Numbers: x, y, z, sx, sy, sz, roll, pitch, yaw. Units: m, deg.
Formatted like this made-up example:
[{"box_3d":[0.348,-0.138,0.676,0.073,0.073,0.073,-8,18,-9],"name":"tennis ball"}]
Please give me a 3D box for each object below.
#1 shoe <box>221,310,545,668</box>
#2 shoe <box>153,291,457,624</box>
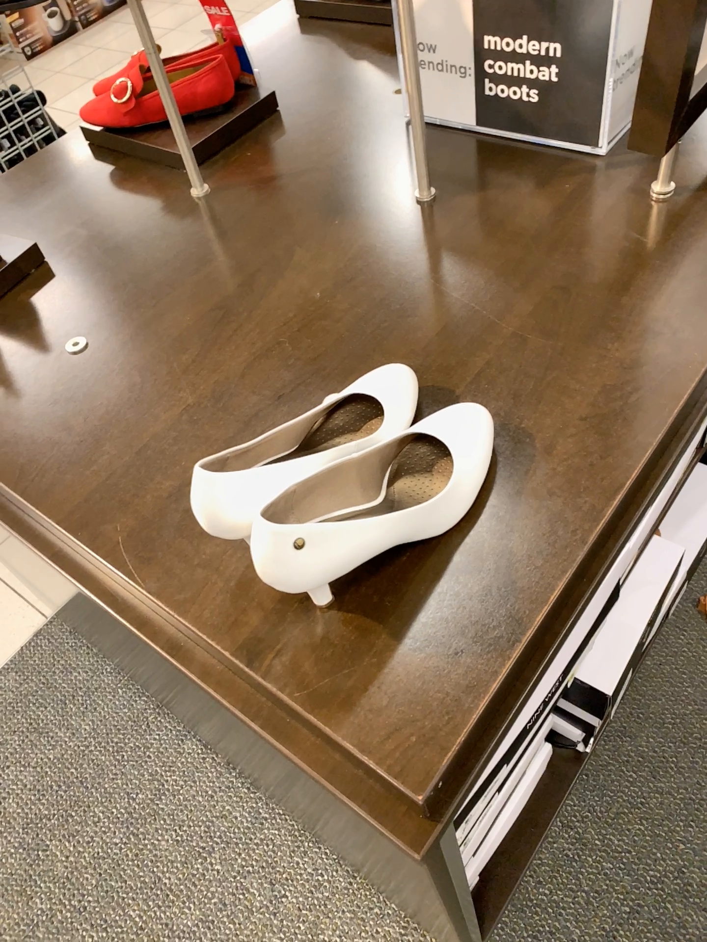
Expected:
[{"box_3d":[0.037,0.006,0.562,0.090,0.110,0.260,30,63,31],"name":"shoe"},{"box_3d":[-0.025,-0.019,0.606,0.090,0.110,0.260,26,61,29],"name":"shoe"}]
